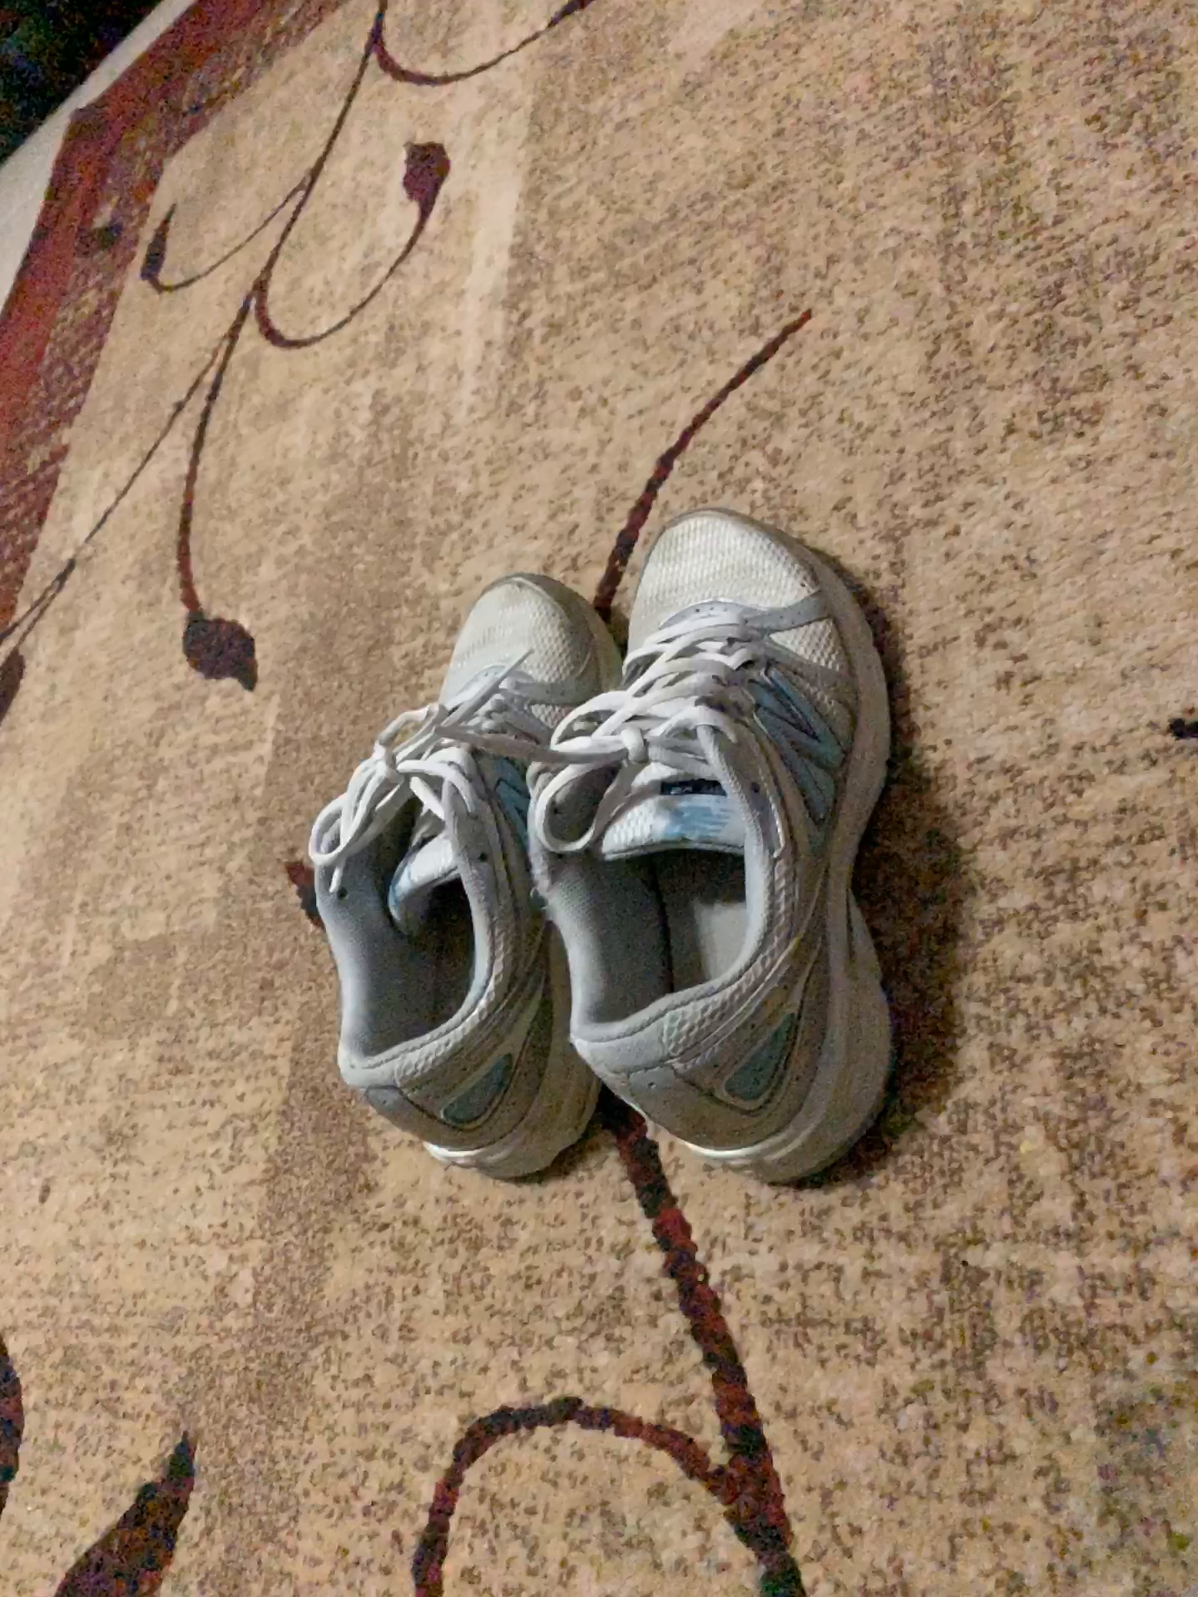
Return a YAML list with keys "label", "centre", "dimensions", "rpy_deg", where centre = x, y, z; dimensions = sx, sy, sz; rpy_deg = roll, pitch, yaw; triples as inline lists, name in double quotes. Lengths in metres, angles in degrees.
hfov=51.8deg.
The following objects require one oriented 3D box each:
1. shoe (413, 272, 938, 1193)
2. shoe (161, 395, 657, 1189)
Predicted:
- label: "shoe"
  centre: [0.030, -0.022, 0.436]
  dimensions: [0.104, 0.124, 0.284]
  rpy_deg: [-19, 55, 34]
- label: "shoe"
  centre: [-0.063, 0.000, 0.506]
  dimensions: [0.111, 0.124, 0.284]
  rpy_deg: [-17, 56, 35]
